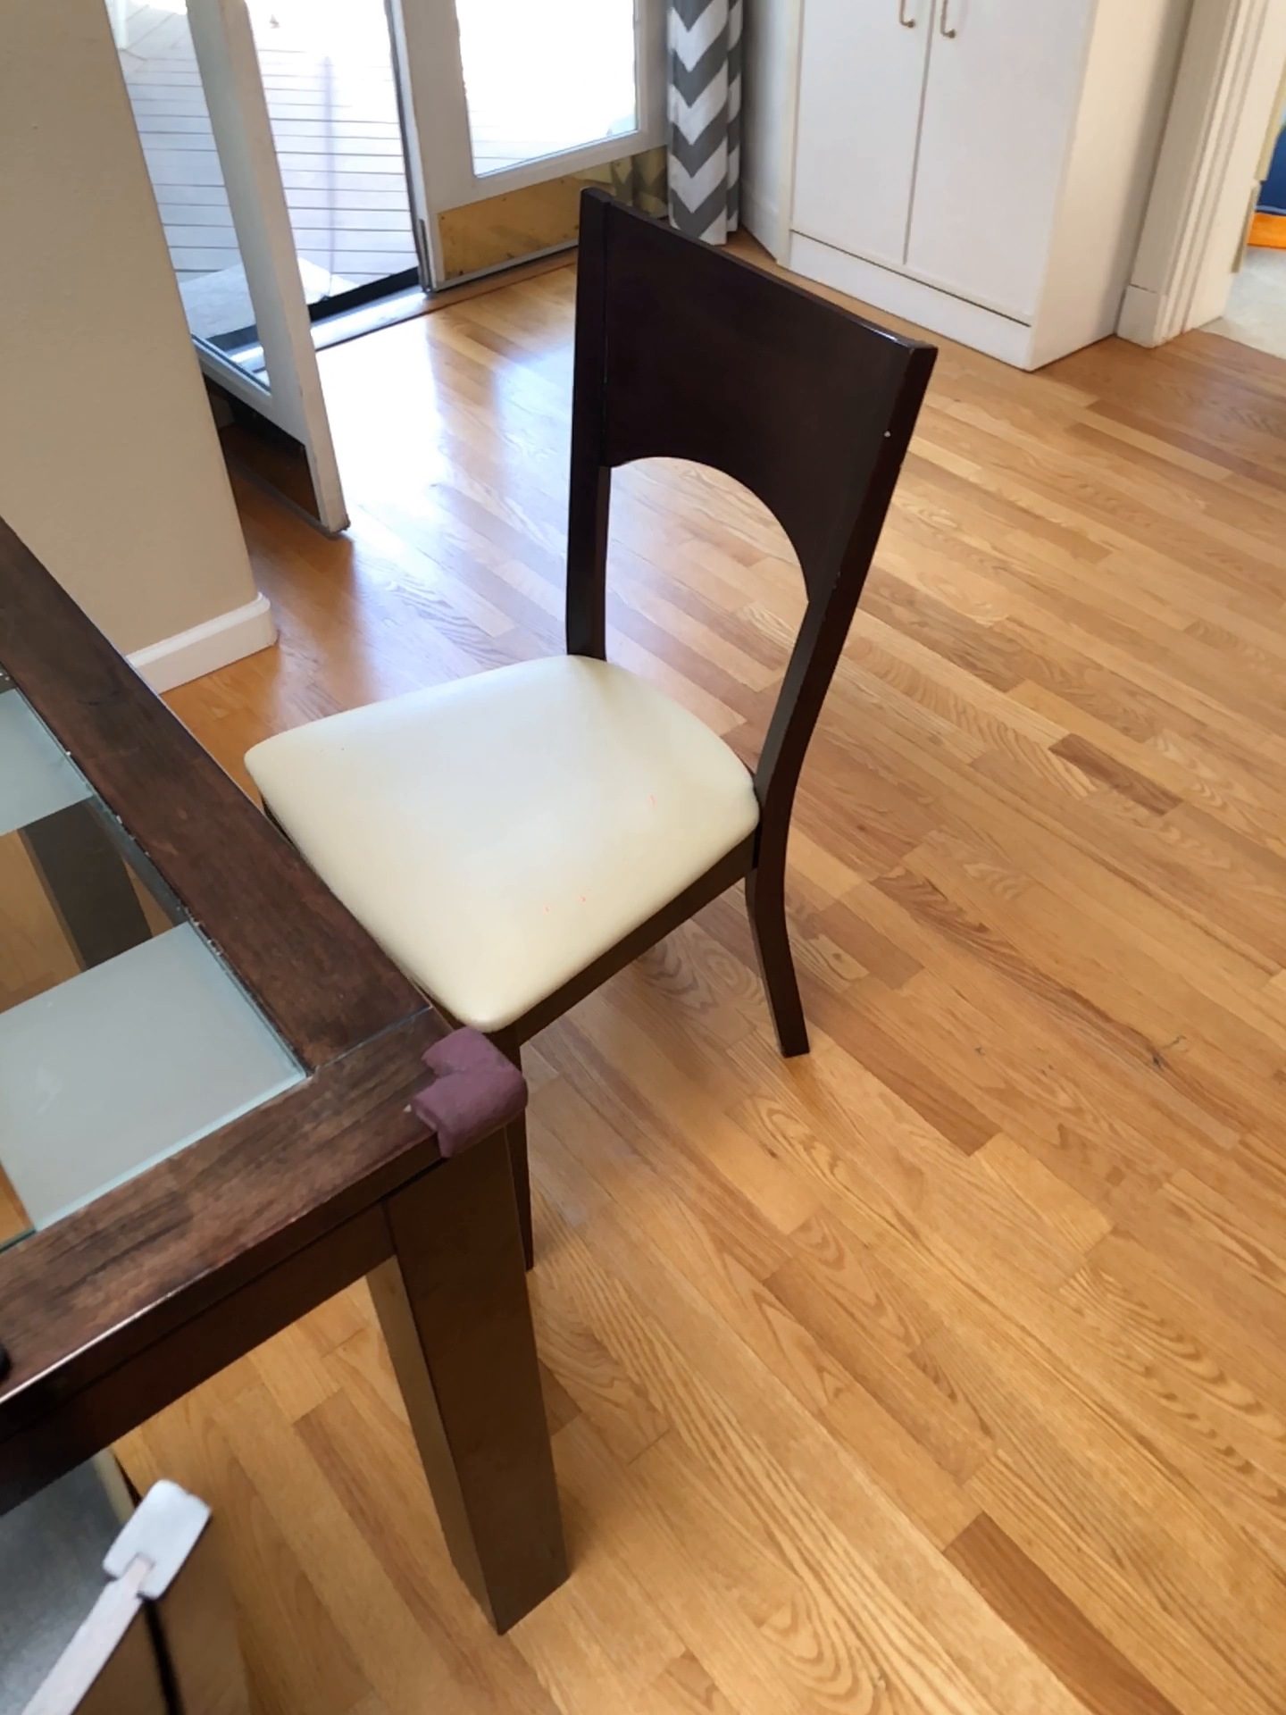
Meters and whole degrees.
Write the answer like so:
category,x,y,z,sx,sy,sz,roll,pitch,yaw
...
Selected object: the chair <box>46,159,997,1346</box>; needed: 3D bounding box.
category,x,y,z,sx,sy,sz,roll,pitch,yaw
chair,-0.106,-0.094,1.518,0.591,0.994,0.562,-27,49,-25
